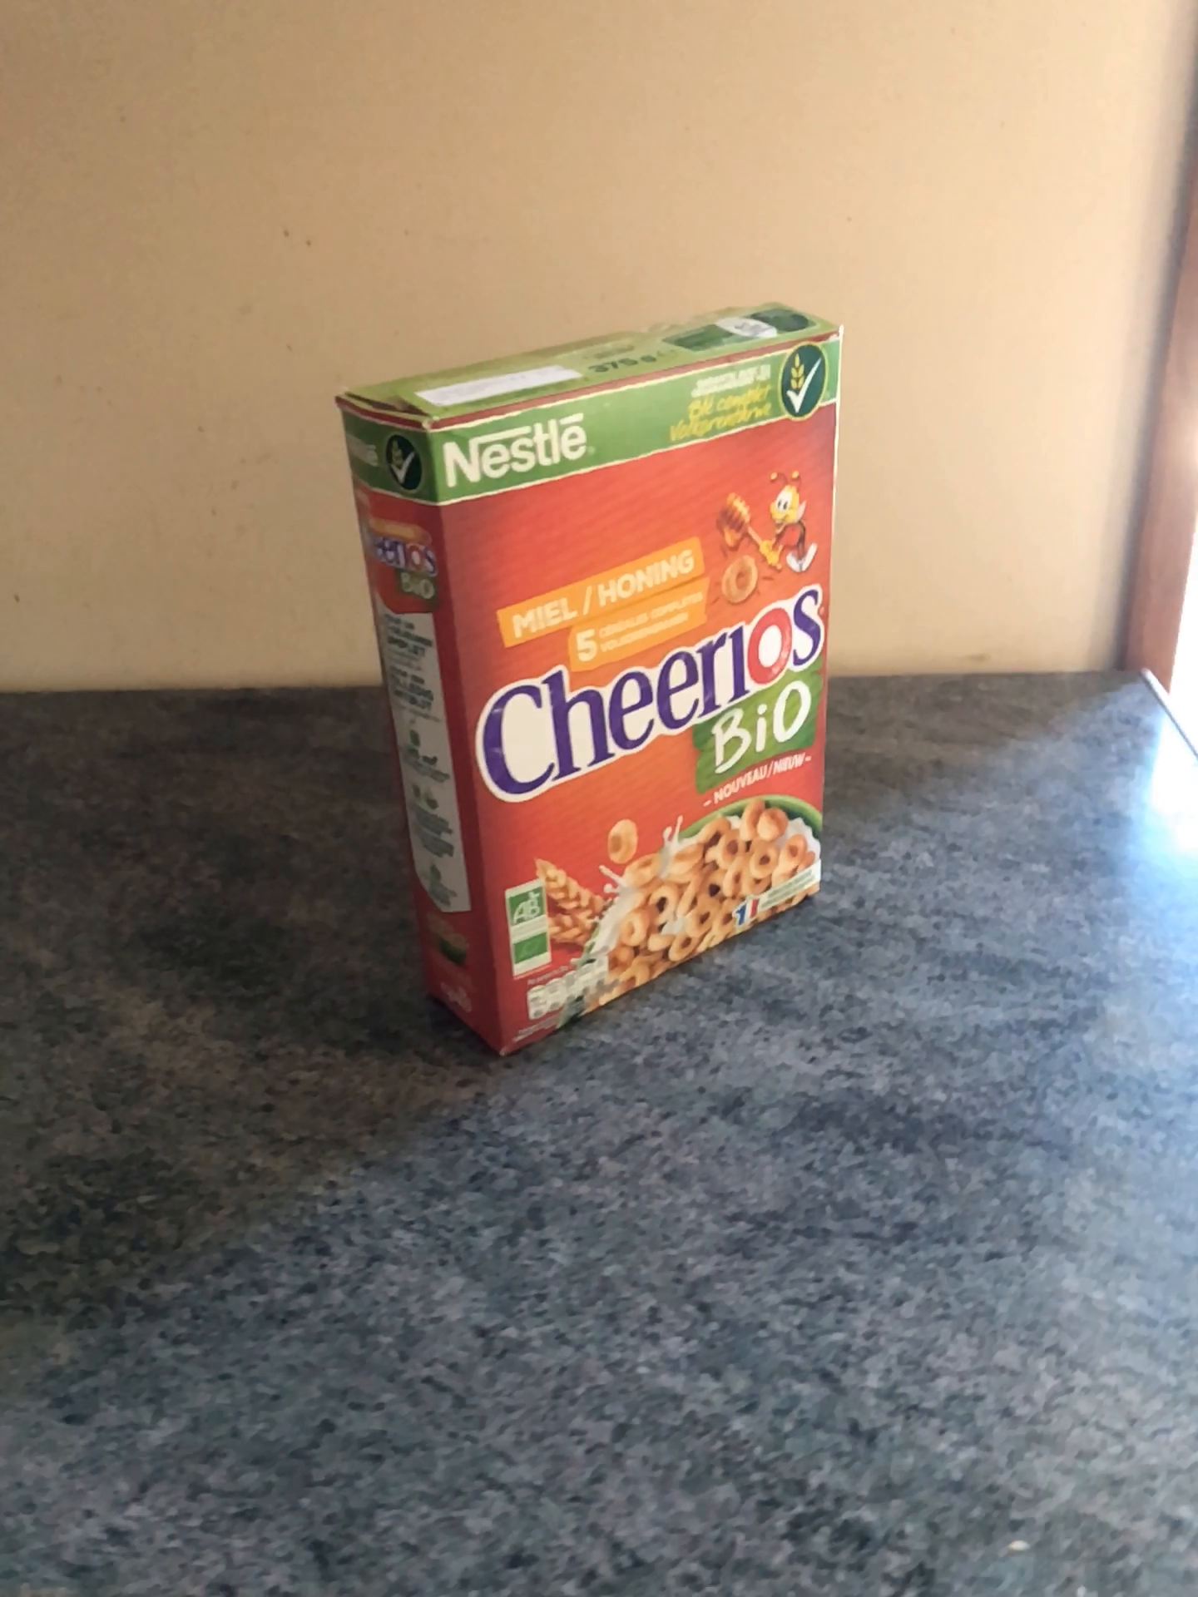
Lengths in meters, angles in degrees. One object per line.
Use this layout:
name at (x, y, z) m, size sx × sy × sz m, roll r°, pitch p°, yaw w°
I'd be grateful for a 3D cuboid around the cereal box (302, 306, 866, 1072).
cereal box at (0.007, -0.051, 0.549) m, size 0.201 × 0.258 × 0.080 m, roll -23°, pitch 34°, yaw -30°
